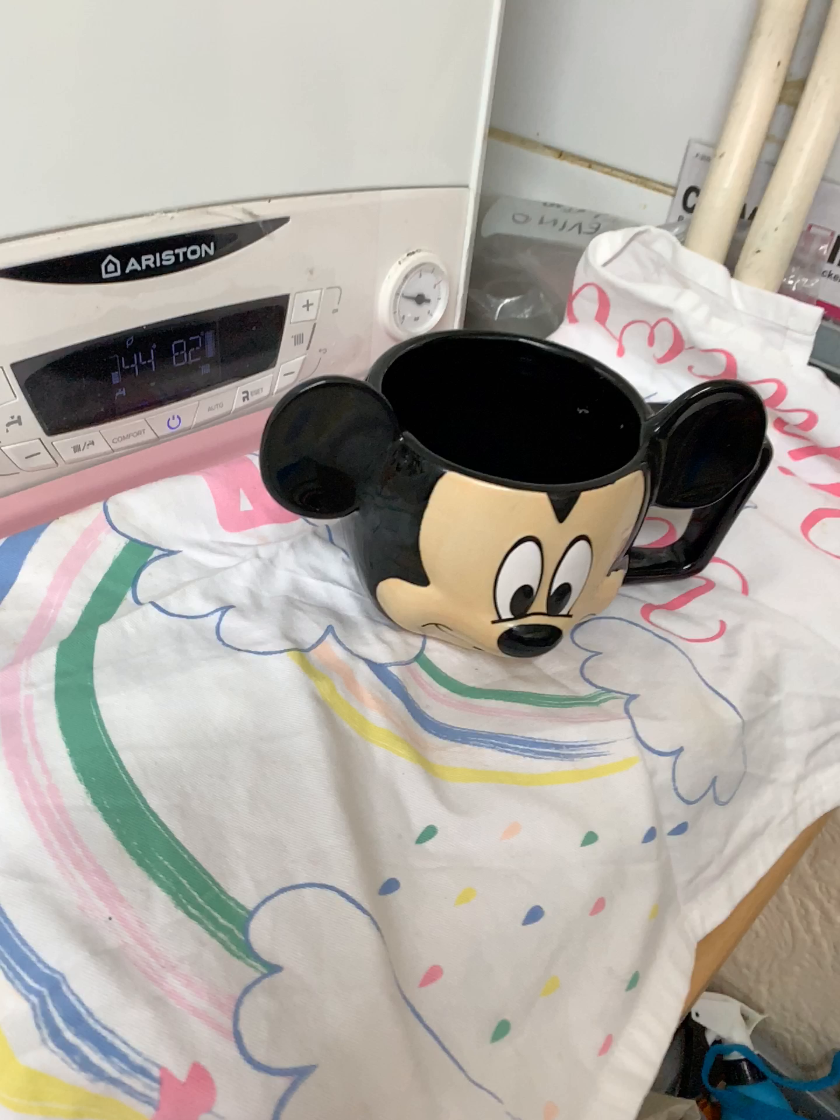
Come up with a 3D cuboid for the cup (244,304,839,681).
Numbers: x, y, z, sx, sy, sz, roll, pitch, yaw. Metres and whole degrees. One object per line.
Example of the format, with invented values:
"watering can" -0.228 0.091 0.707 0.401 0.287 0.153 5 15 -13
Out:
"cup" 0.039 -0.031 0.305 0.190 0.079 0.101 -4 39 -15
